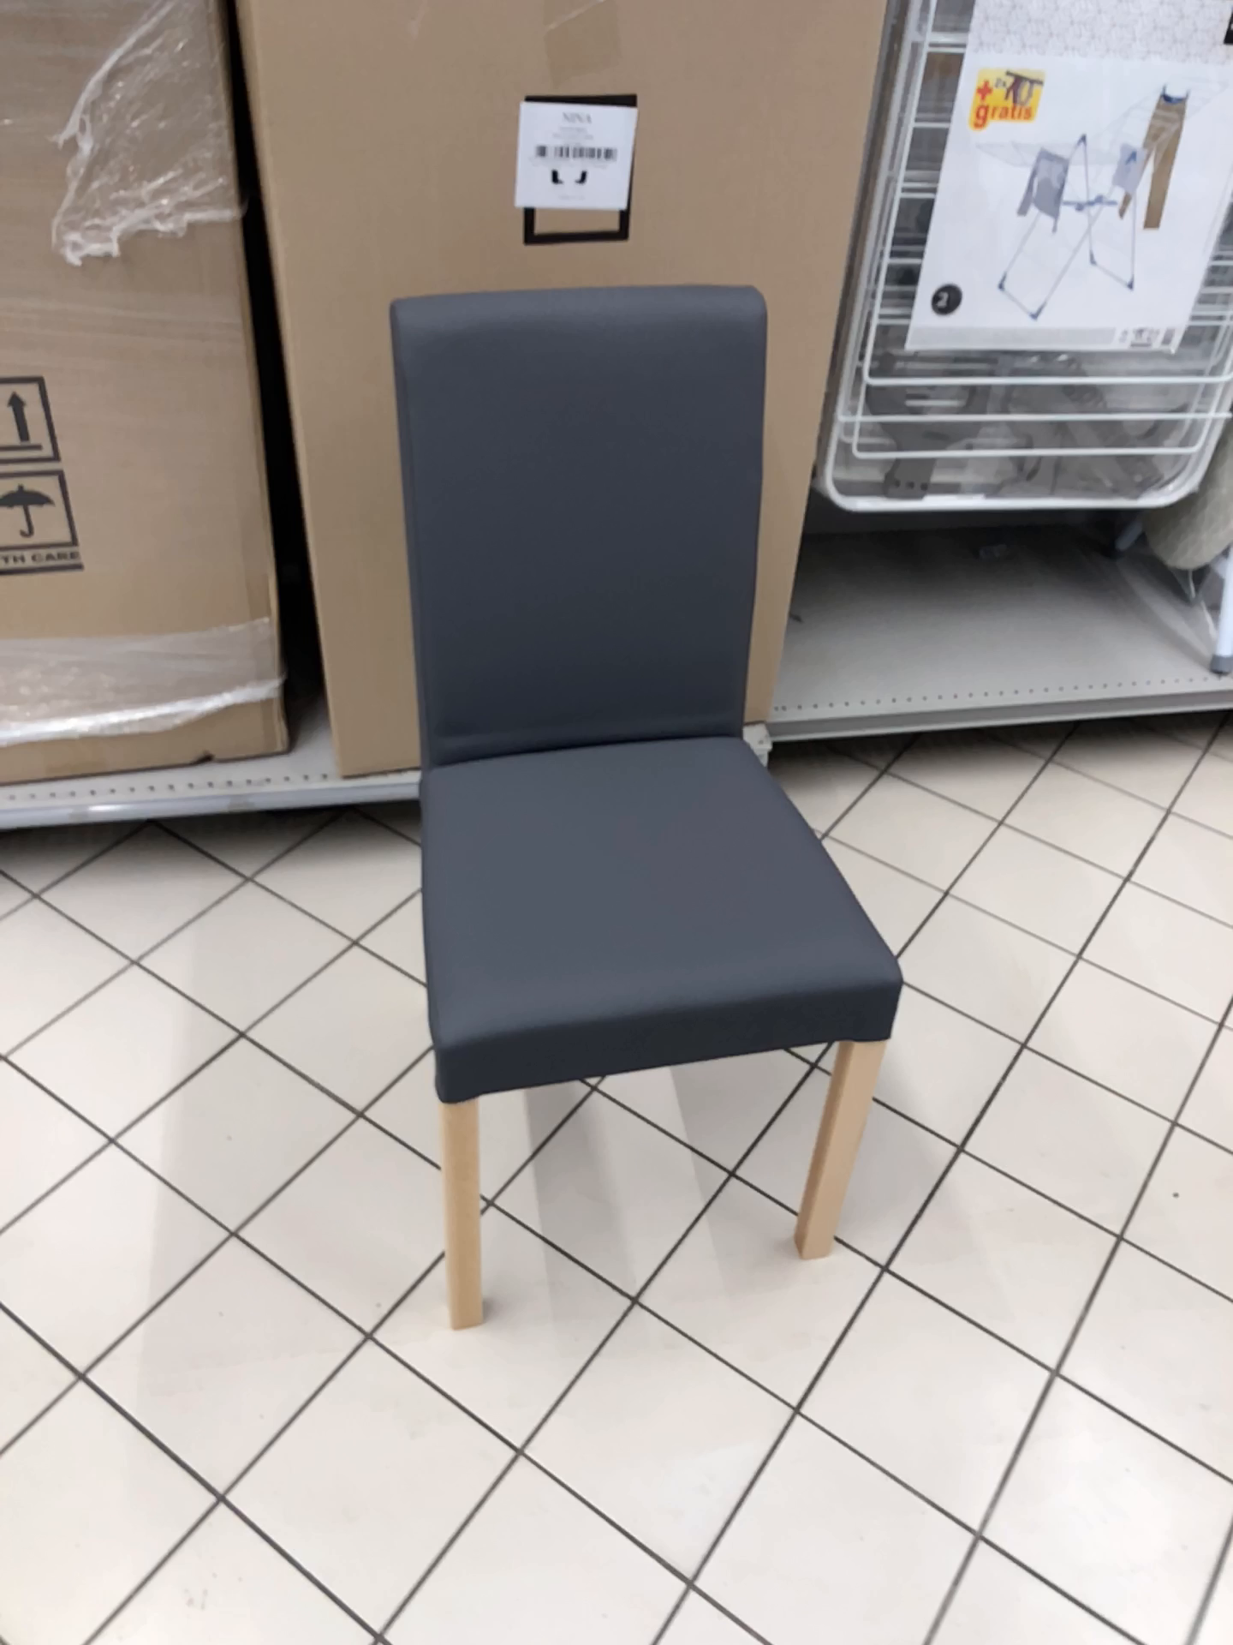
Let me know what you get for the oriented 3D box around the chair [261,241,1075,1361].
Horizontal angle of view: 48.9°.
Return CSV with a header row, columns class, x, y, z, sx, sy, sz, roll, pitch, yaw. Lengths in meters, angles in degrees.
class,x,y,z,sx,sy,sz,roll,pitch,yaw
chair,-0.028,-0.015,1.275,0.471,0.825,0.573,-7,42,-12
